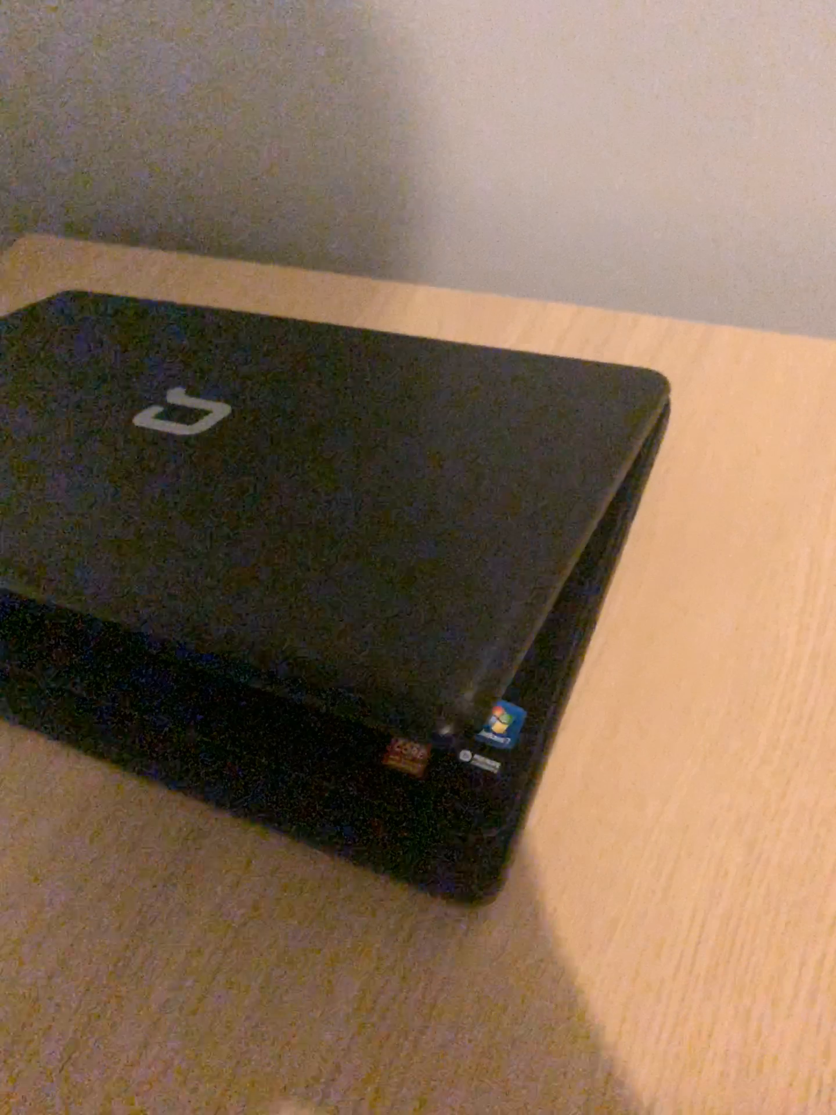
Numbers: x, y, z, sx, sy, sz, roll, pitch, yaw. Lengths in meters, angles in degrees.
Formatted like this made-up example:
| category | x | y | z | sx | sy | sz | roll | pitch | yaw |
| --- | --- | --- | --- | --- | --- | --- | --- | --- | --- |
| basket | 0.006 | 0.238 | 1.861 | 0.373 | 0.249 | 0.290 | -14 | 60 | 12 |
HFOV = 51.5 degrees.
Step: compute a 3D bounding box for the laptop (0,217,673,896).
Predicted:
| category | x | y | z | sx | sy | sz | roll | pitch | yaw |
| --- | --- | --- | --- | --- | --- | --- | --- | --- | --- |
| laptop | -0.107 | -0.039 | 0.383 | 0.374 | 0.064 | 0.224 | 13 | 61 | 23 |
